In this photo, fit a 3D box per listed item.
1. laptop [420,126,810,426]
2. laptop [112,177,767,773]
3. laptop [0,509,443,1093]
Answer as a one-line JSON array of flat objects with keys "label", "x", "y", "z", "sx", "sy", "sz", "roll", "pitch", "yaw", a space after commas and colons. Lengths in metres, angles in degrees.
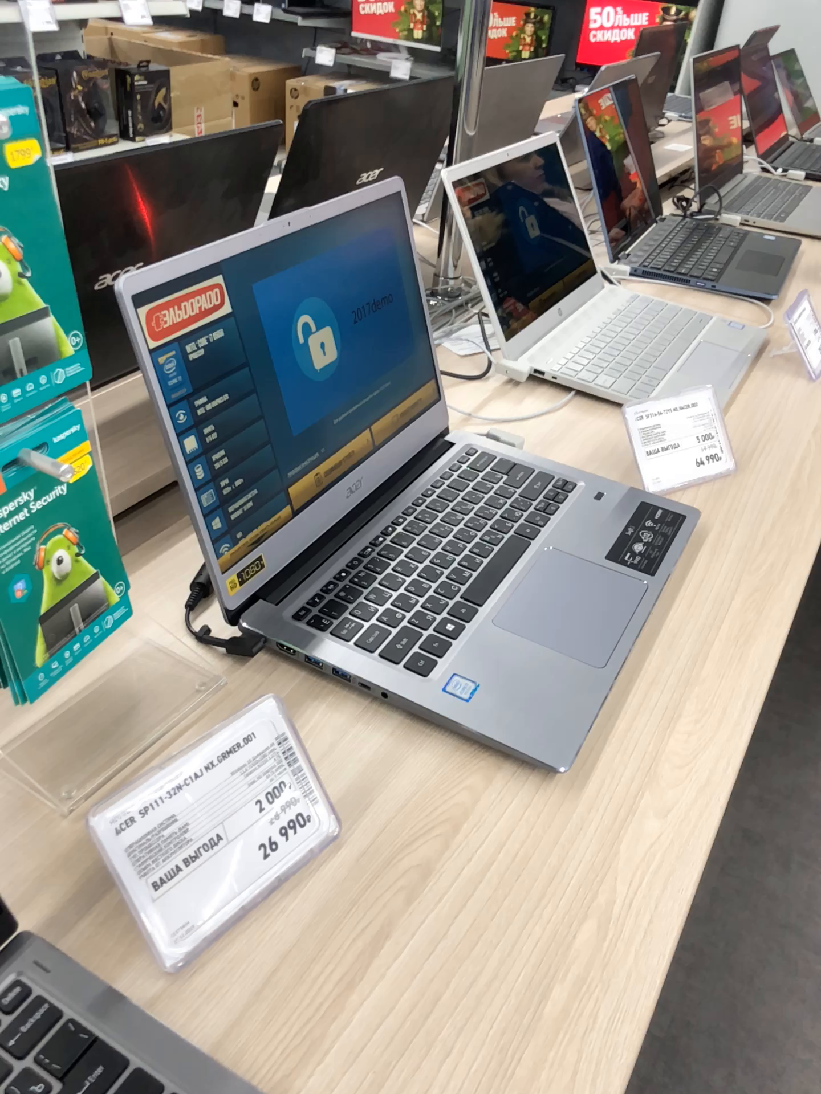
[{"label": "laptop", "x": 0.229, "y": -0.319, "z": 0.997, "sx": 0.322, "sy": 0.164, "sz": 0.306, "roll": 23, "pitch": 38, "yaw": 19}, {"label": "laptop", "x": 0.035, "y": -0.086, "z": 0.613, "sx": 0.302, "sy": 0.197, "sz": 0.316, "roll": 22, "pitch": 38, "yaw": 19}, {"label": "laptop", "x": -0.197, "y": 0.180, "z": 0.224, "sx": 0.311, "sy": 0.159, "sz": 0.280, "roll": 24, "pitch": 39, "yaw": 20}]
